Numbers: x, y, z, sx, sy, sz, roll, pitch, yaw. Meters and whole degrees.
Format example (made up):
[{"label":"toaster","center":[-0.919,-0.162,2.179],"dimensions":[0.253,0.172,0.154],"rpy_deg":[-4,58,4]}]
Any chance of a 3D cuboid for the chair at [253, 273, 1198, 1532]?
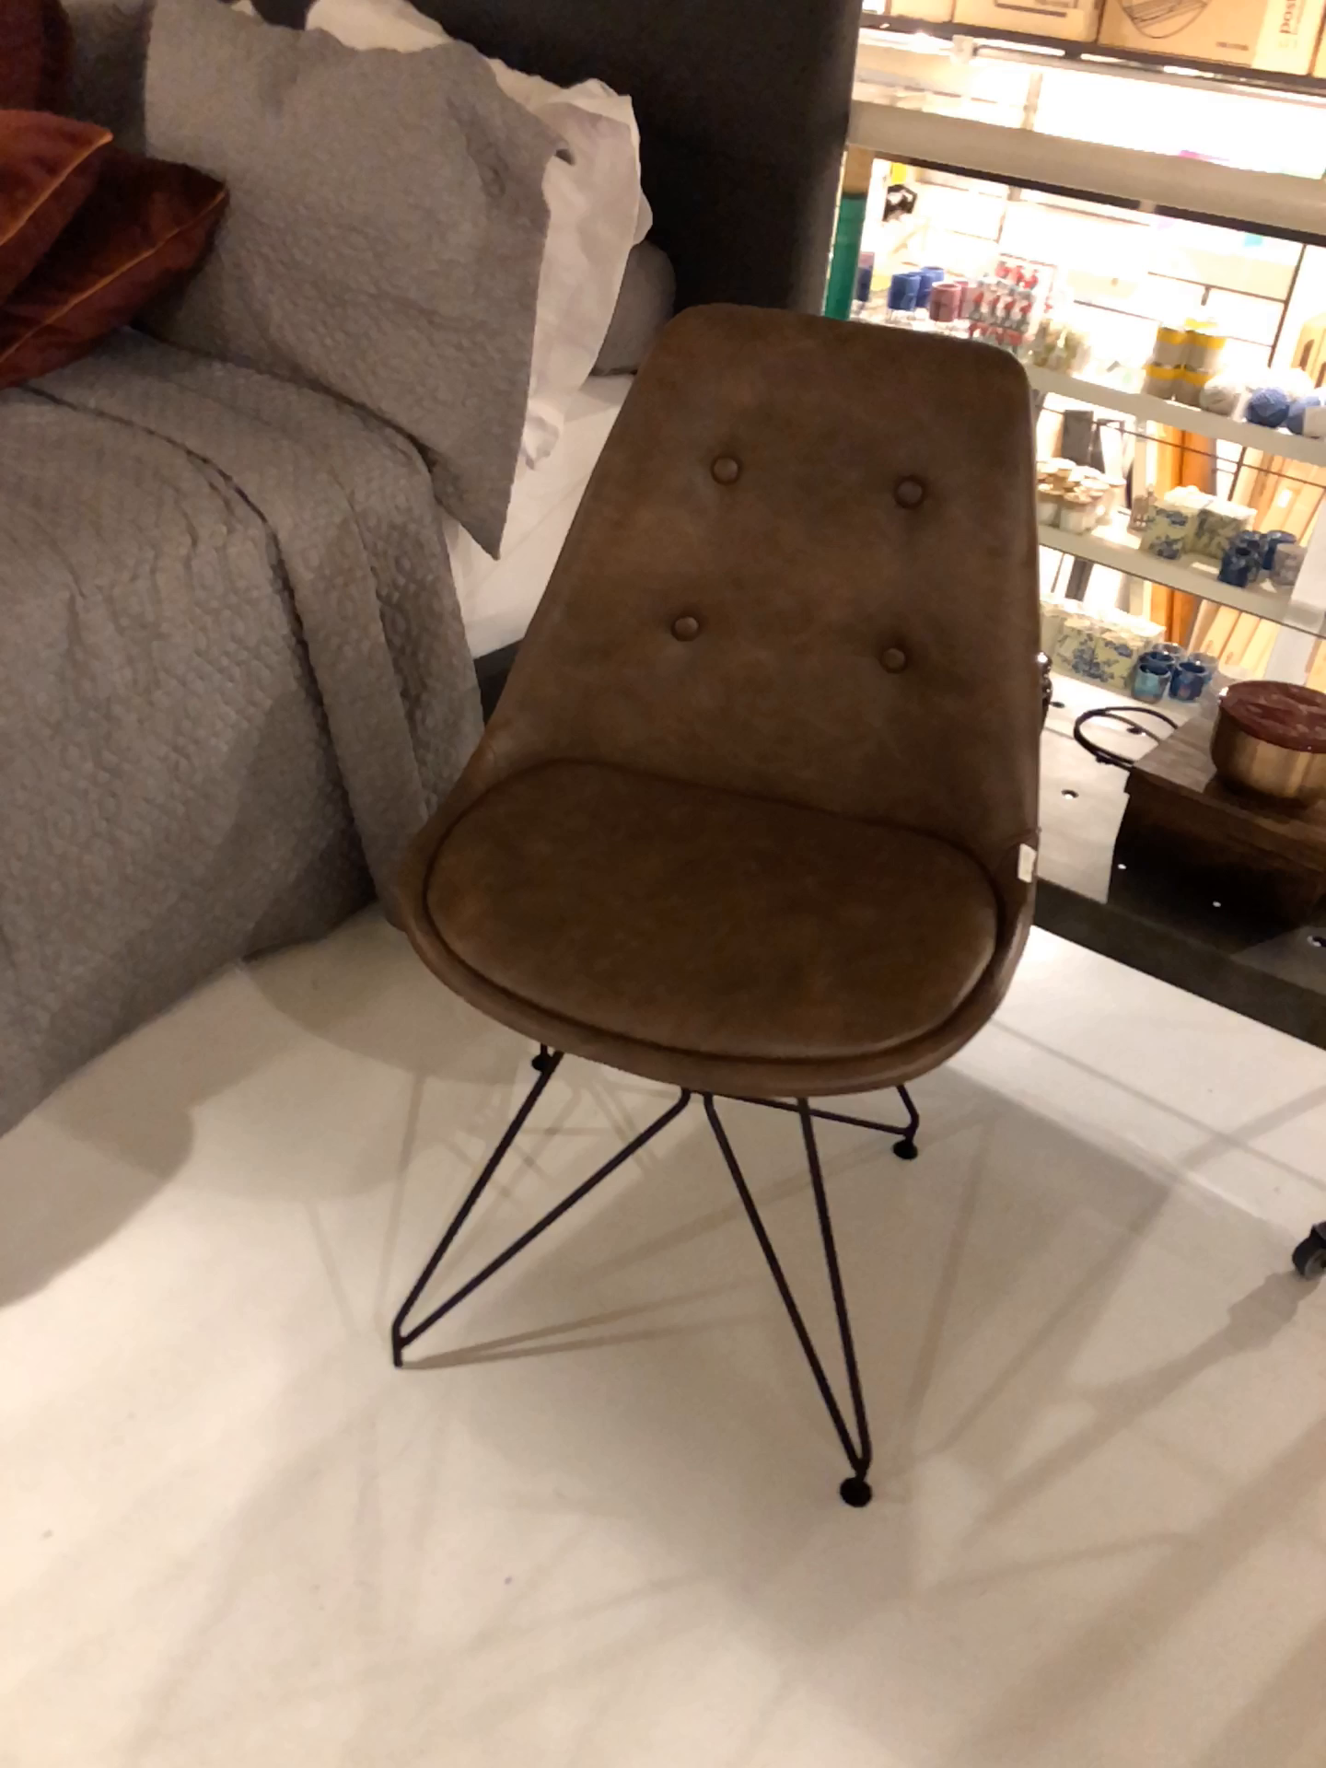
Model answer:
[{"label":"chair","center":[0.060,-0.013,1.186],"dimensions":[0.510,0.754,0.554],"rpy_deg":[13,34,11]}]
